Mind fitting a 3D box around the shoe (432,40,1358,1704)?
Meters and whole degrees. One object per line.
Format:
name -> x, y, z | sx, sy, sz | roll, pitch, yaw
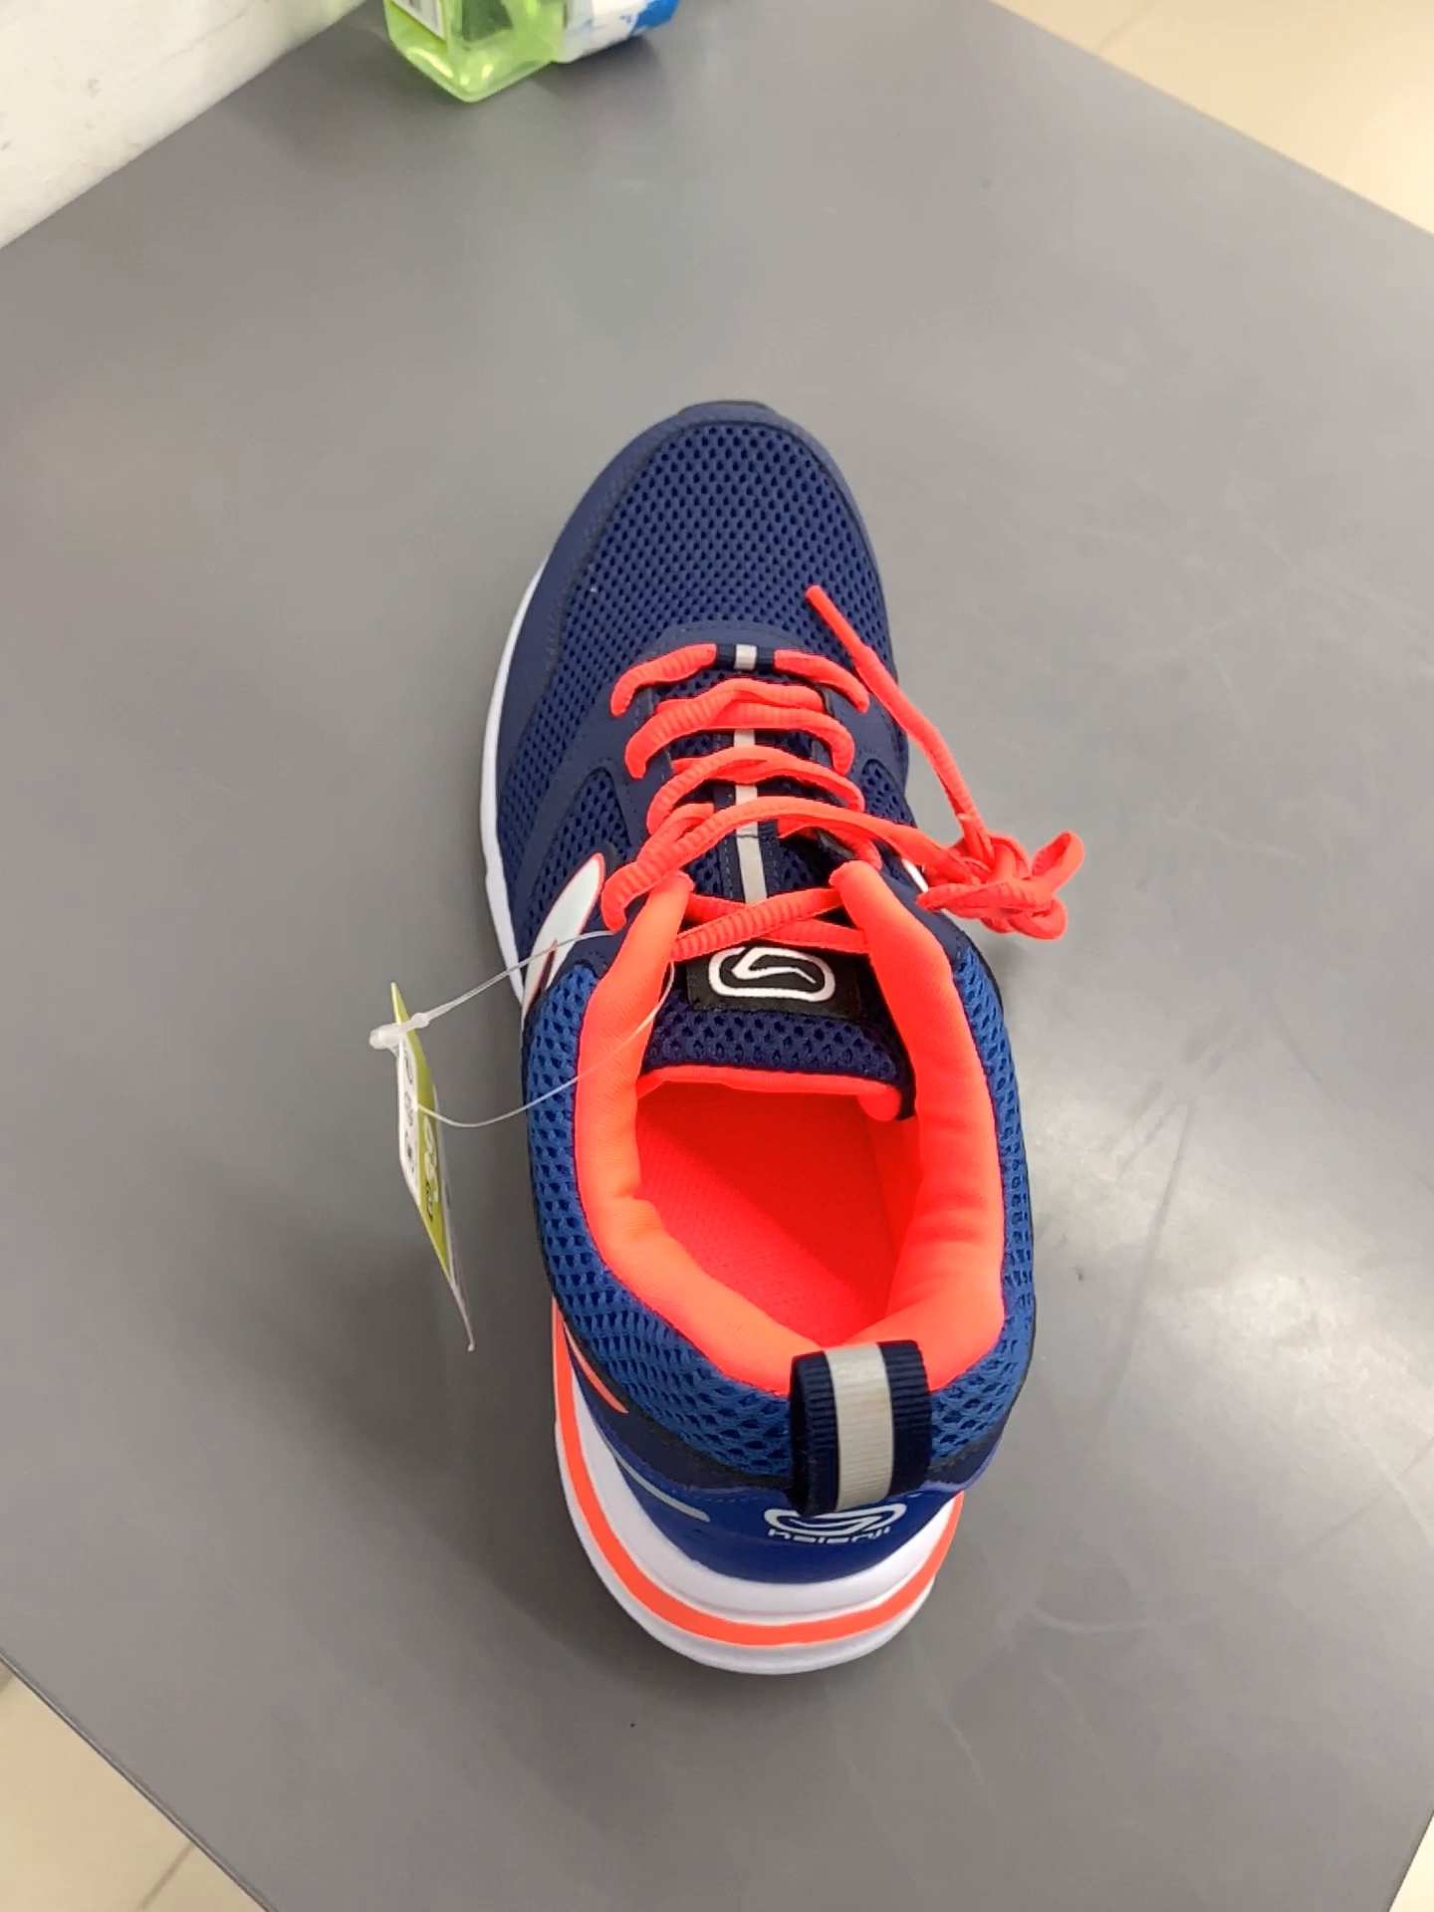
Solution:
shoe -> 0.005, -0.020, 0.297 | 0.110, 0.140, 0.290 | -2, 65, -6
